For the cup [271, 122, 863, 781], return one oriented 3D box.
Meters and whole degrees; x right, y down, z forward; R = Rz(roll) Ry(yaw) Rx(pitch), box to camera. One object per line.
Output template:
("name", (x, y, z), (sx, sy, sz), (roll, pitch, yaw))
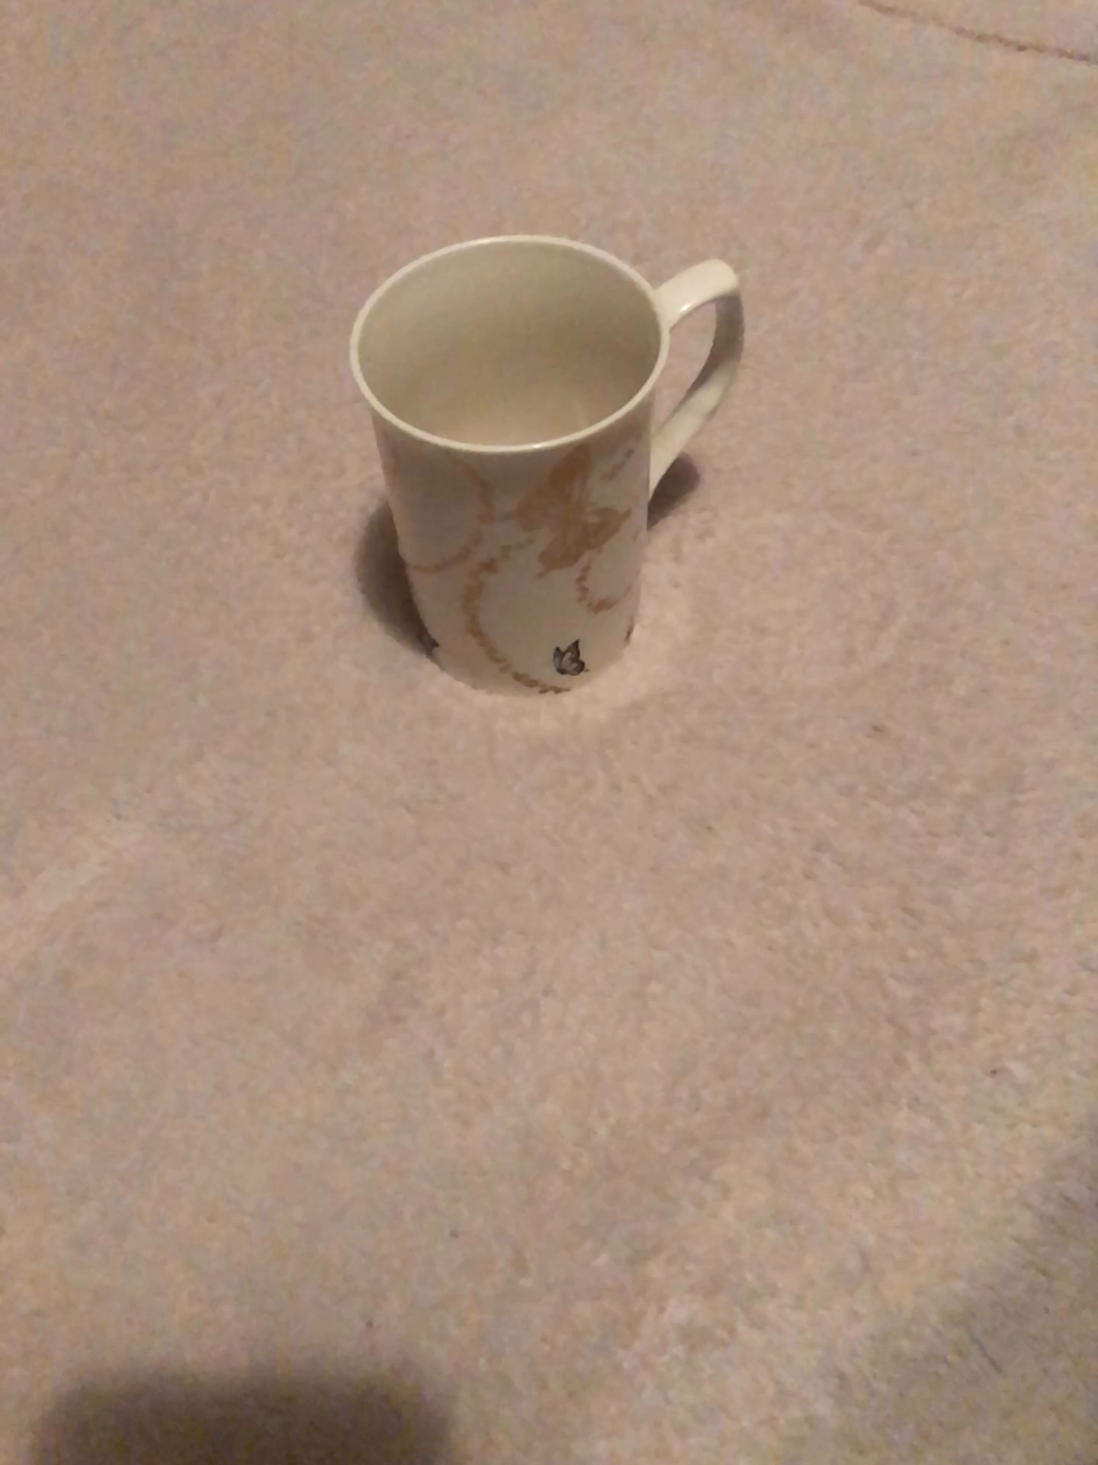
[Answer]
("cup", (0.007, -0.070, 0.321), (0.112, 0.110, 0.073), (-35, 64, -17))
